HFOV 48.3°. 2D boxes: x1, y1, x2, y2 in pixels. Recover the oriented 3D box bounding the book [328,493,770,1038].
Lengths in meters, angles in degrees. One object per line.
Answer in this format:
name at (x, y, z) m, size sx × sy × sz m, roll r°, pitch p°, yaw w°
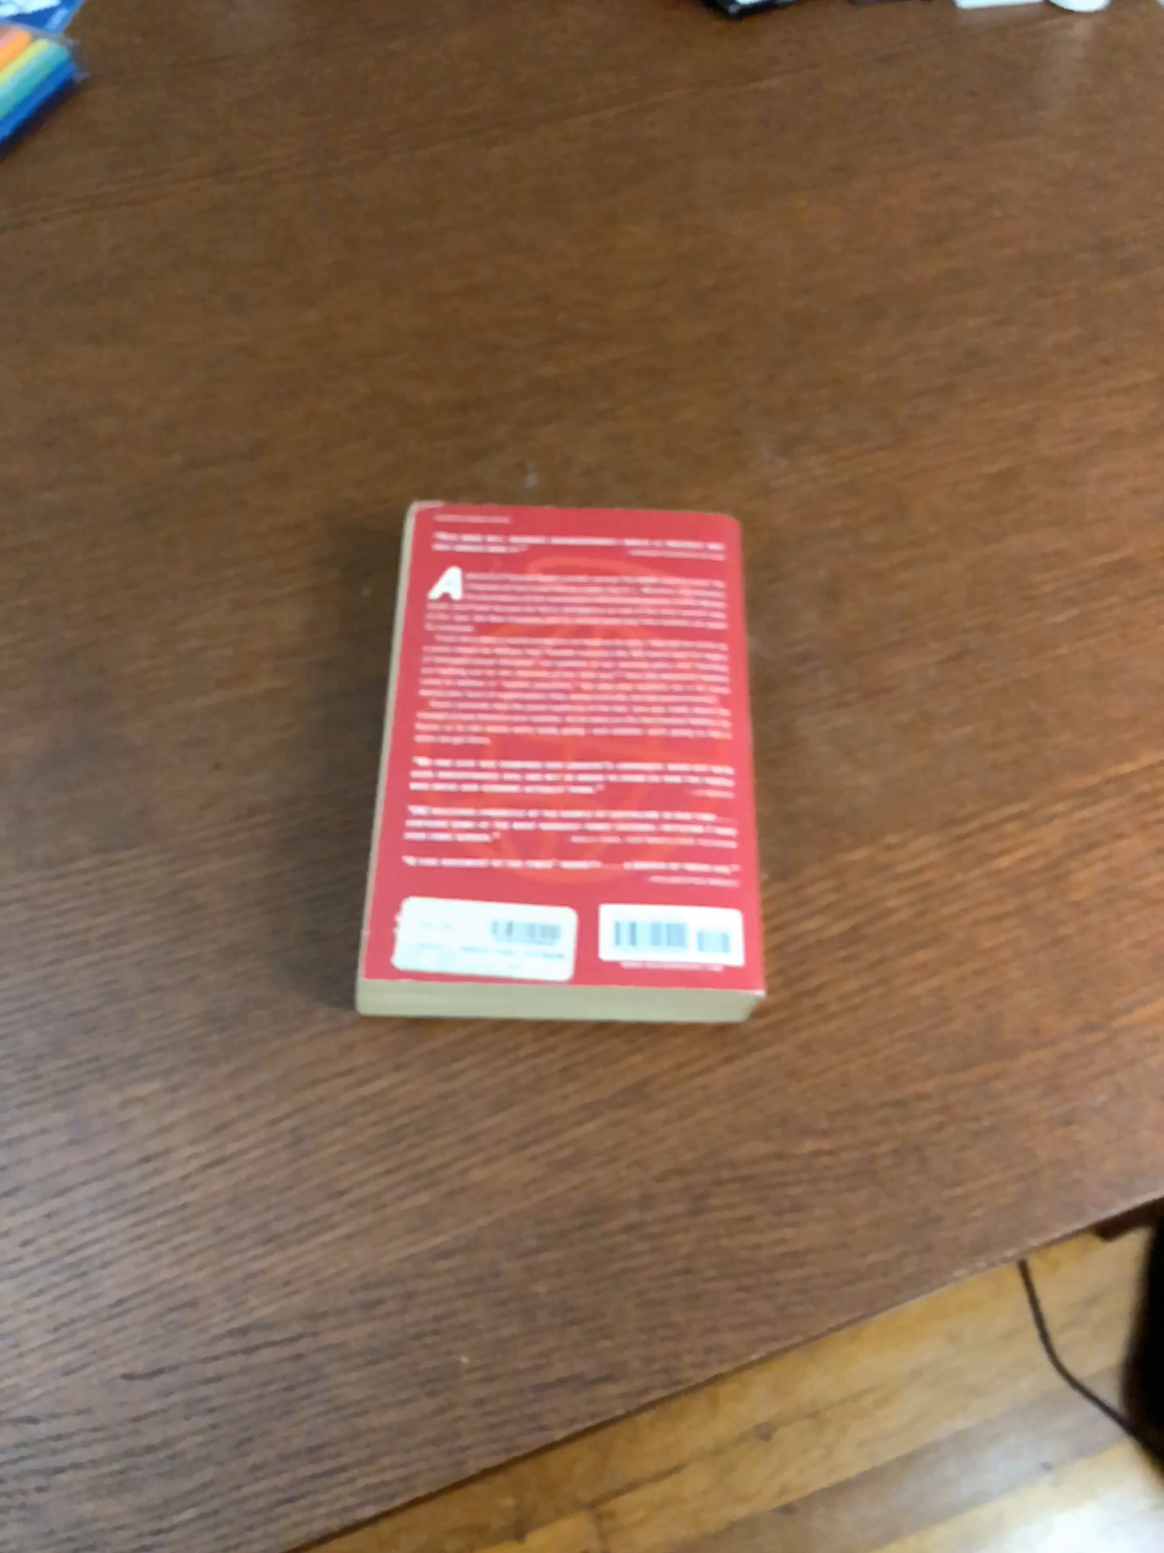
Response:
book at (-0.009, -0.012, 0.477) m, size 0.140 × 0.030 × 0.211 m, roll 2°, pitch 60°, yaw -1°
